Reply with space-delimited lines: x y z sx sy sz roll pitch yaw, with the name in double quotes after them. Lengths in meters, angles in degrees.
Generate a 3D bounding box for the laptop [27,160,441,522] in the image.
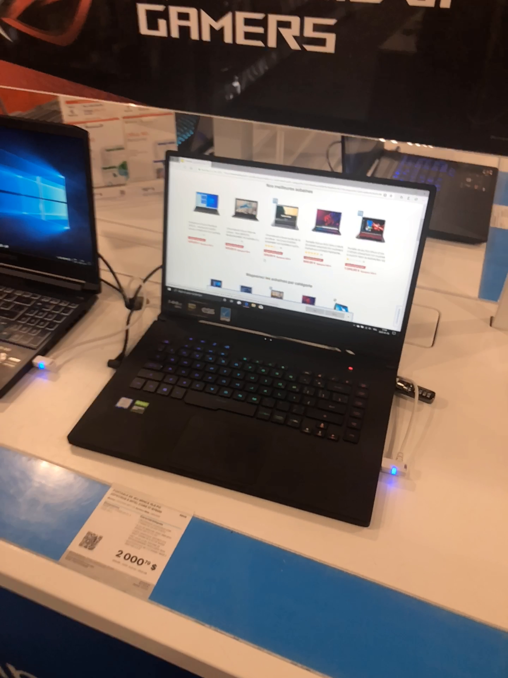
0.004 -0.029 0.648 0.340 0.207 0.316 12 41 16 "laptop"
